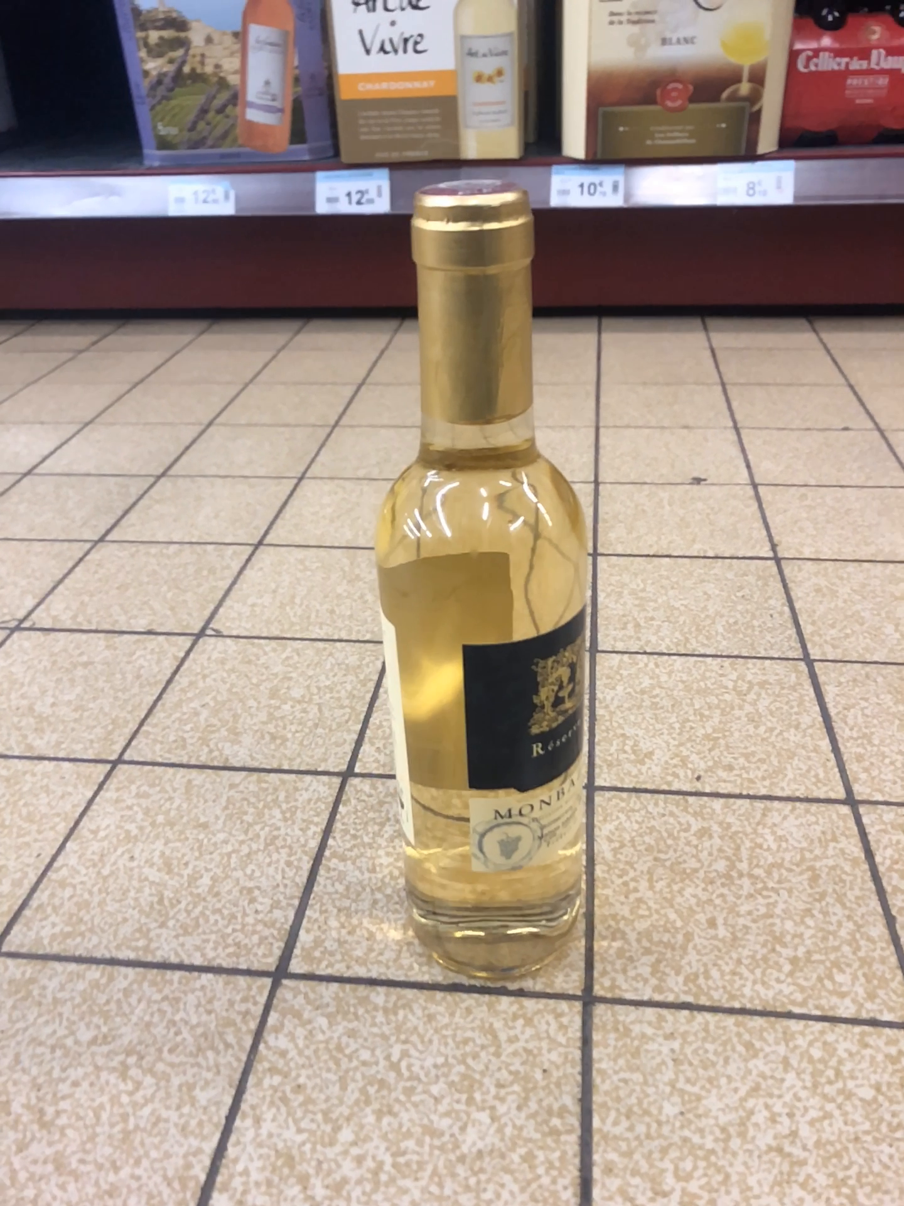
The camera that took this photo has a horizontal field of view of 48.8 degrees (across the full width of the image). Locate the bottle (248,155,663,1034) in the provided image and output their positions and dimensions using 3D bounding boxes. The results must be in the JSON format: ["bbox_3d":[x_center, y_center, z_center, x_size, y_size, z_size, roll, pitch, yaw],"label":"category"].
[{"bbox_3d":[0.007,0.005,0.290,0.070,0.239,0.070,-2,29,1],"label":"bottle"}]
